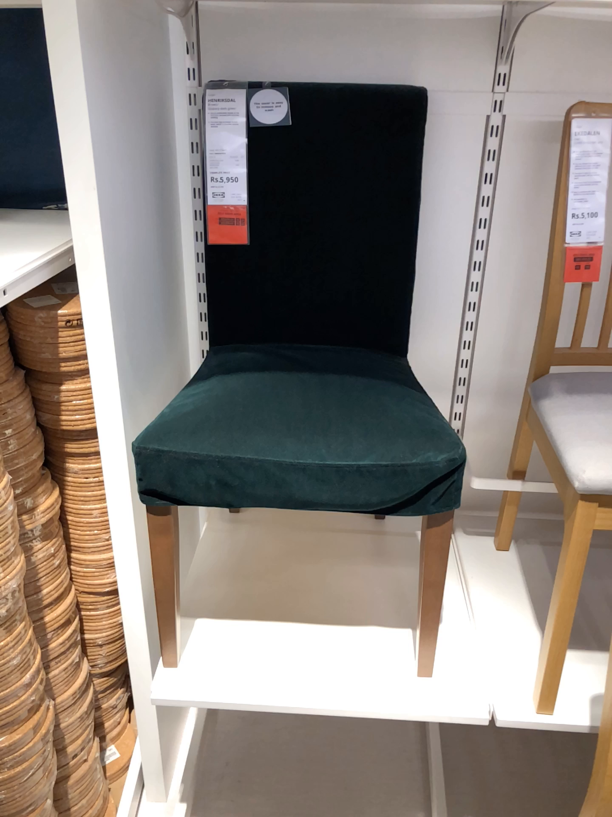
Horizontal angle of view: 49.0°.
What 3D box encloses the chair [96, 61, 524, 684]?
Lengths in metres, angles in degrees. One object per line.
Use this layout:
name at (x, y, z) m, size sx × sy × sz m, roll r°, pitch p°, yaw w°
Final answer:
chair at (0.002, -0.072, 1.161) m, size 0.470 × 0.914 × 0.513 m, roll 2°, pitch 25°, yaw 1°
